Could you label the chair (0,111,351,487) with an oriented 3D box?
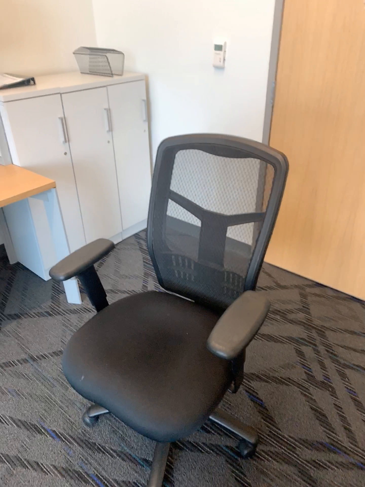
[{"bbox_3d":[-0.016,0.189,1.204,0.662,0.992,0.724,21,37,33],"label":"chair"}]
